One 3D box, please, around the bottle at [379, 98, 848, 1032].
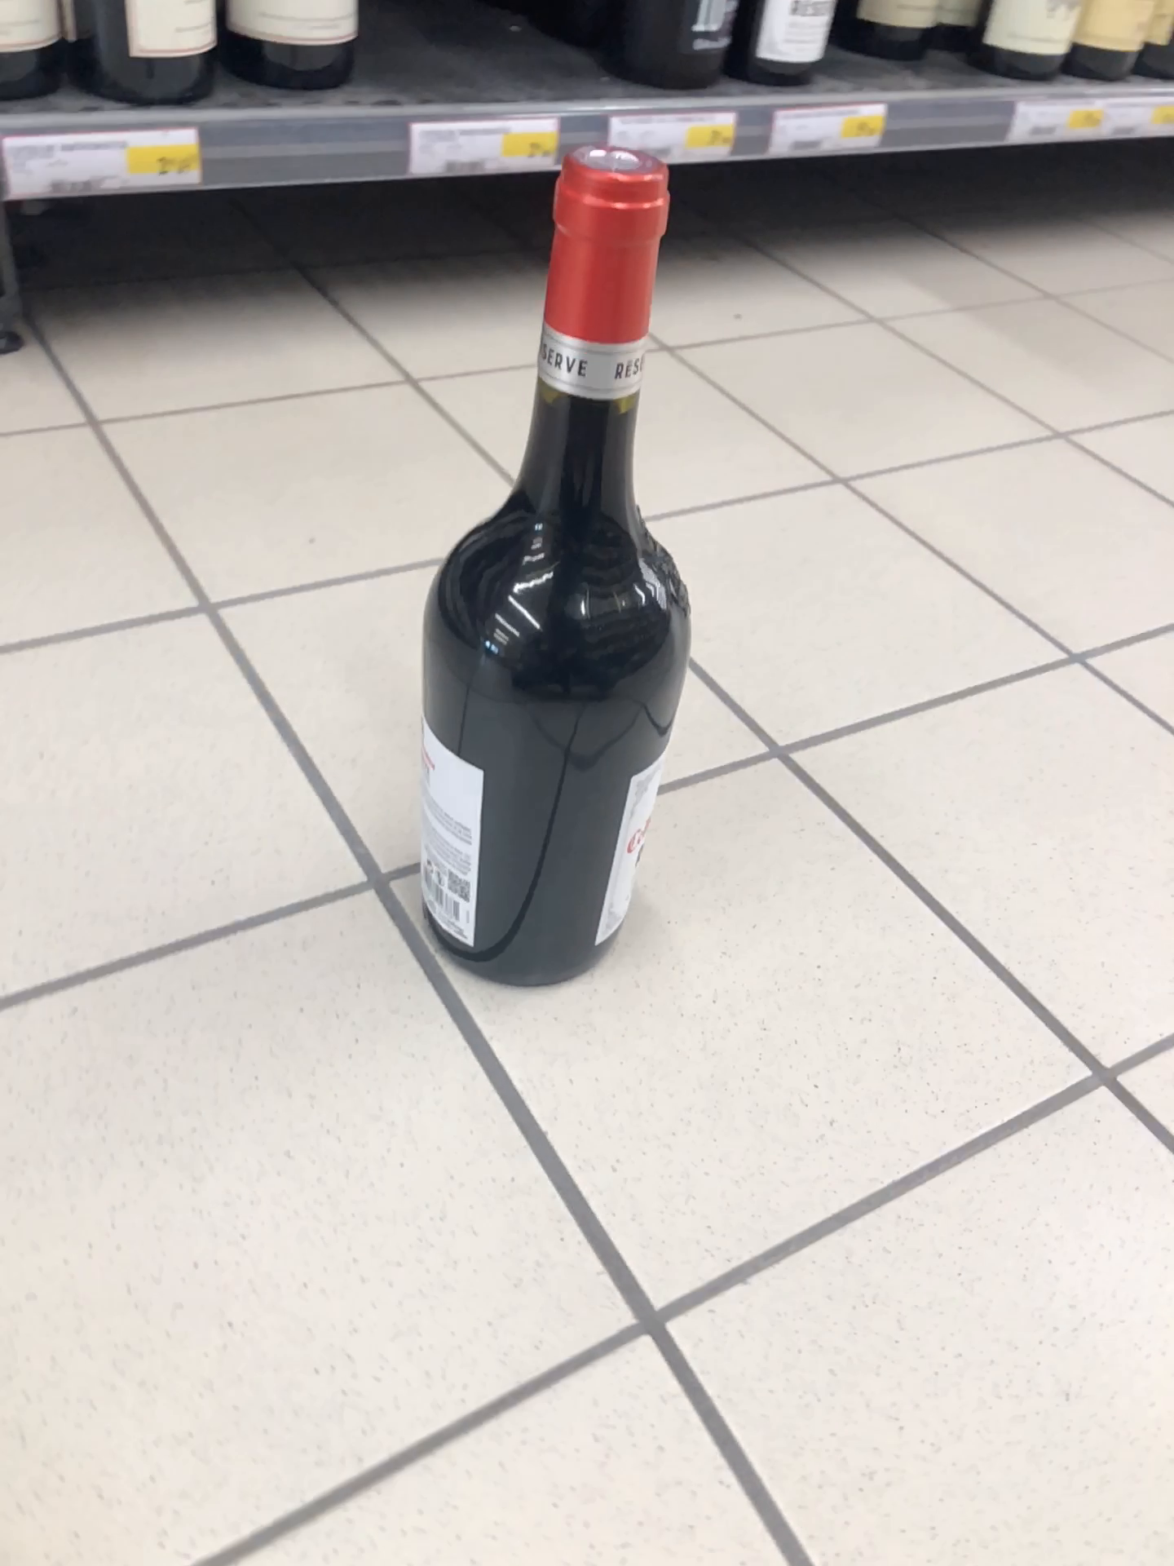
[{"bbox_3d":[-0.013,-0.051,0.411,0.100,0.268,0.111,1,40,-10],"label":"bottle"}]
